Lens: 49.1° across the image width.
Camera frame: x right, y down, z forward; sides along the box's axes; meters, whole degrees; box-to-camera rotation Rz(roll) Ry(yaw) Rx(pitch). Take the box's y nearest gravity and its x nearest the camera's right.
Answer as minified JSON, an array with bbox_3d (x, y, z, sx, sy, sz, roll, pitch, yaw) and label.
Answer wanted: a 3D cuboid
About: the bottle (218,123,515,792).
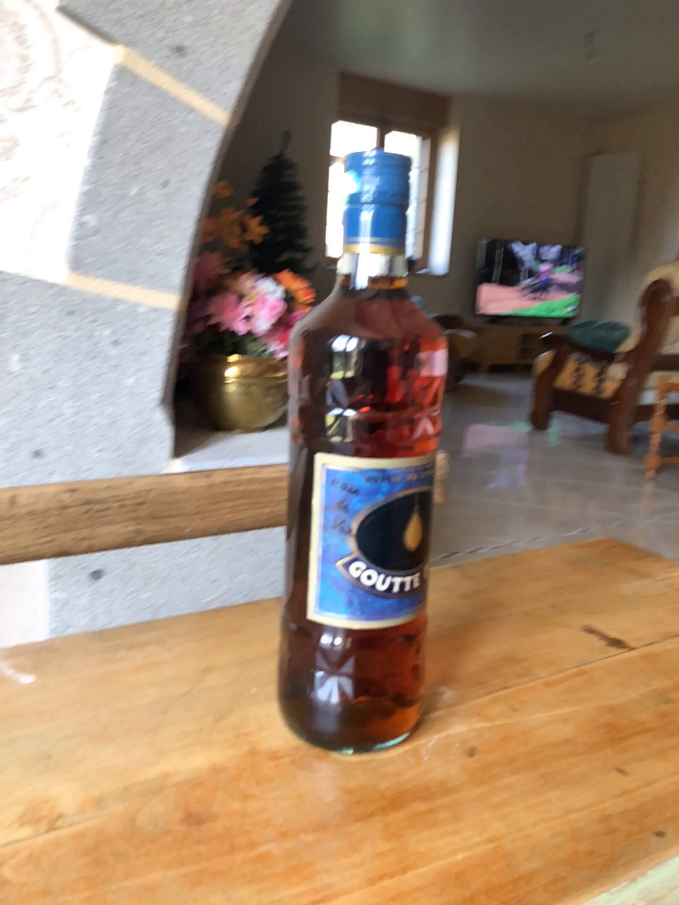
[{"bbox_3d":[0.004,0.001,0.368,0.090,0.279,0.100,-4,14,-32],"label":"bottle"}]
